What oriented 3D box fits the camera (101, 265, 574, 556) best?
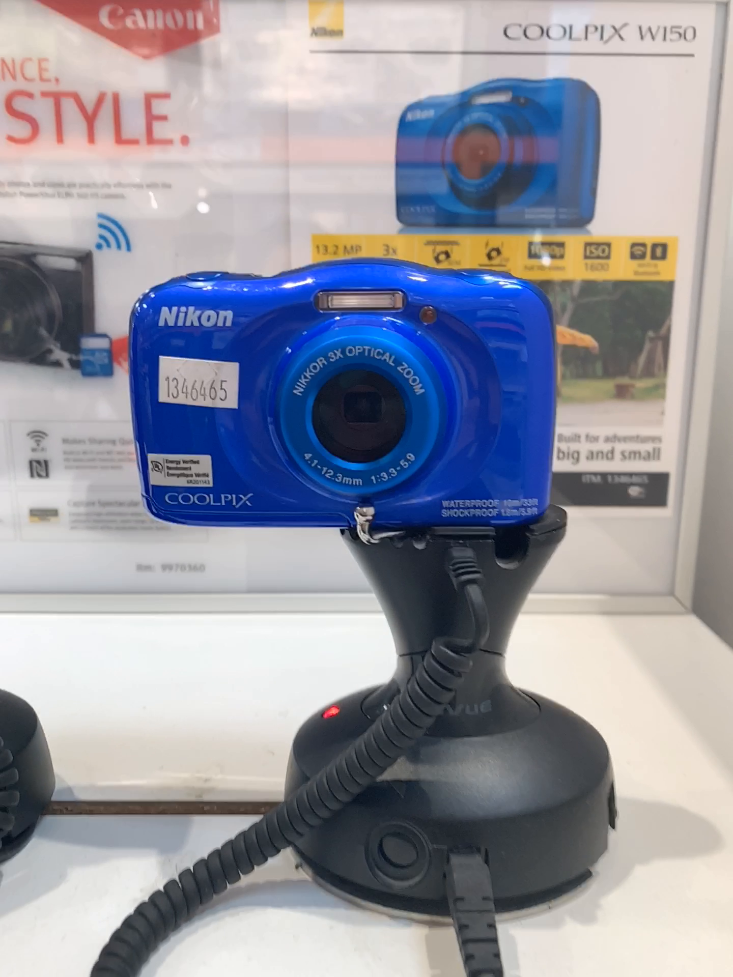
[{"bbox_3d":[-0.006,-0.021,0.192,0.101,0.063,0.046,1,12,1],"label":"camera"}]
